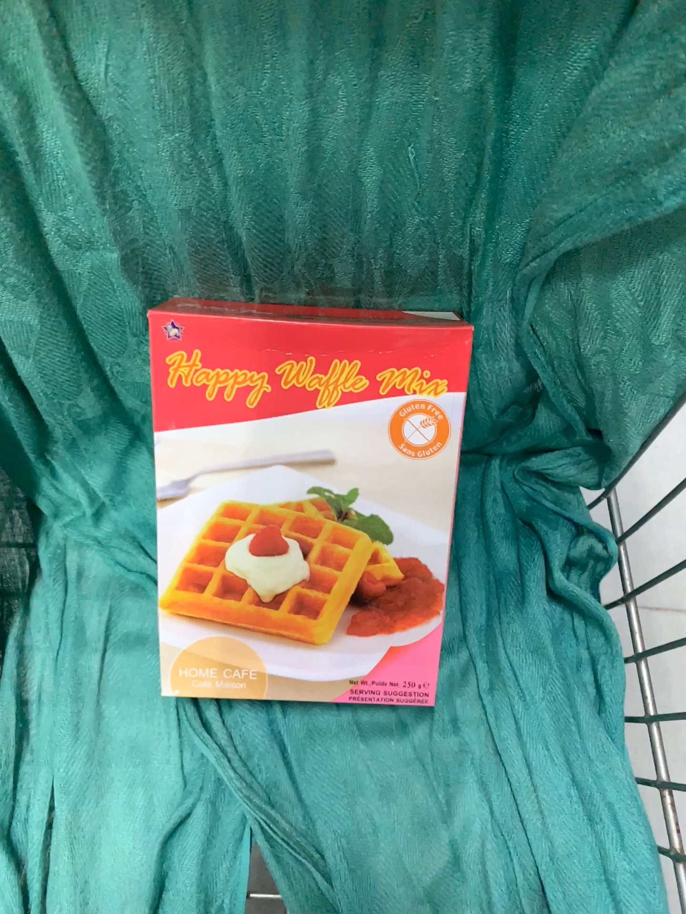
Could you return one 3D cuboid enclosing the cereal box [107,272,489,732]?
[{"bbox_3d":[-0.019,0.021,0.294,0.130,0.180,0.050,3,20,0],"label":"cereal box"}]
